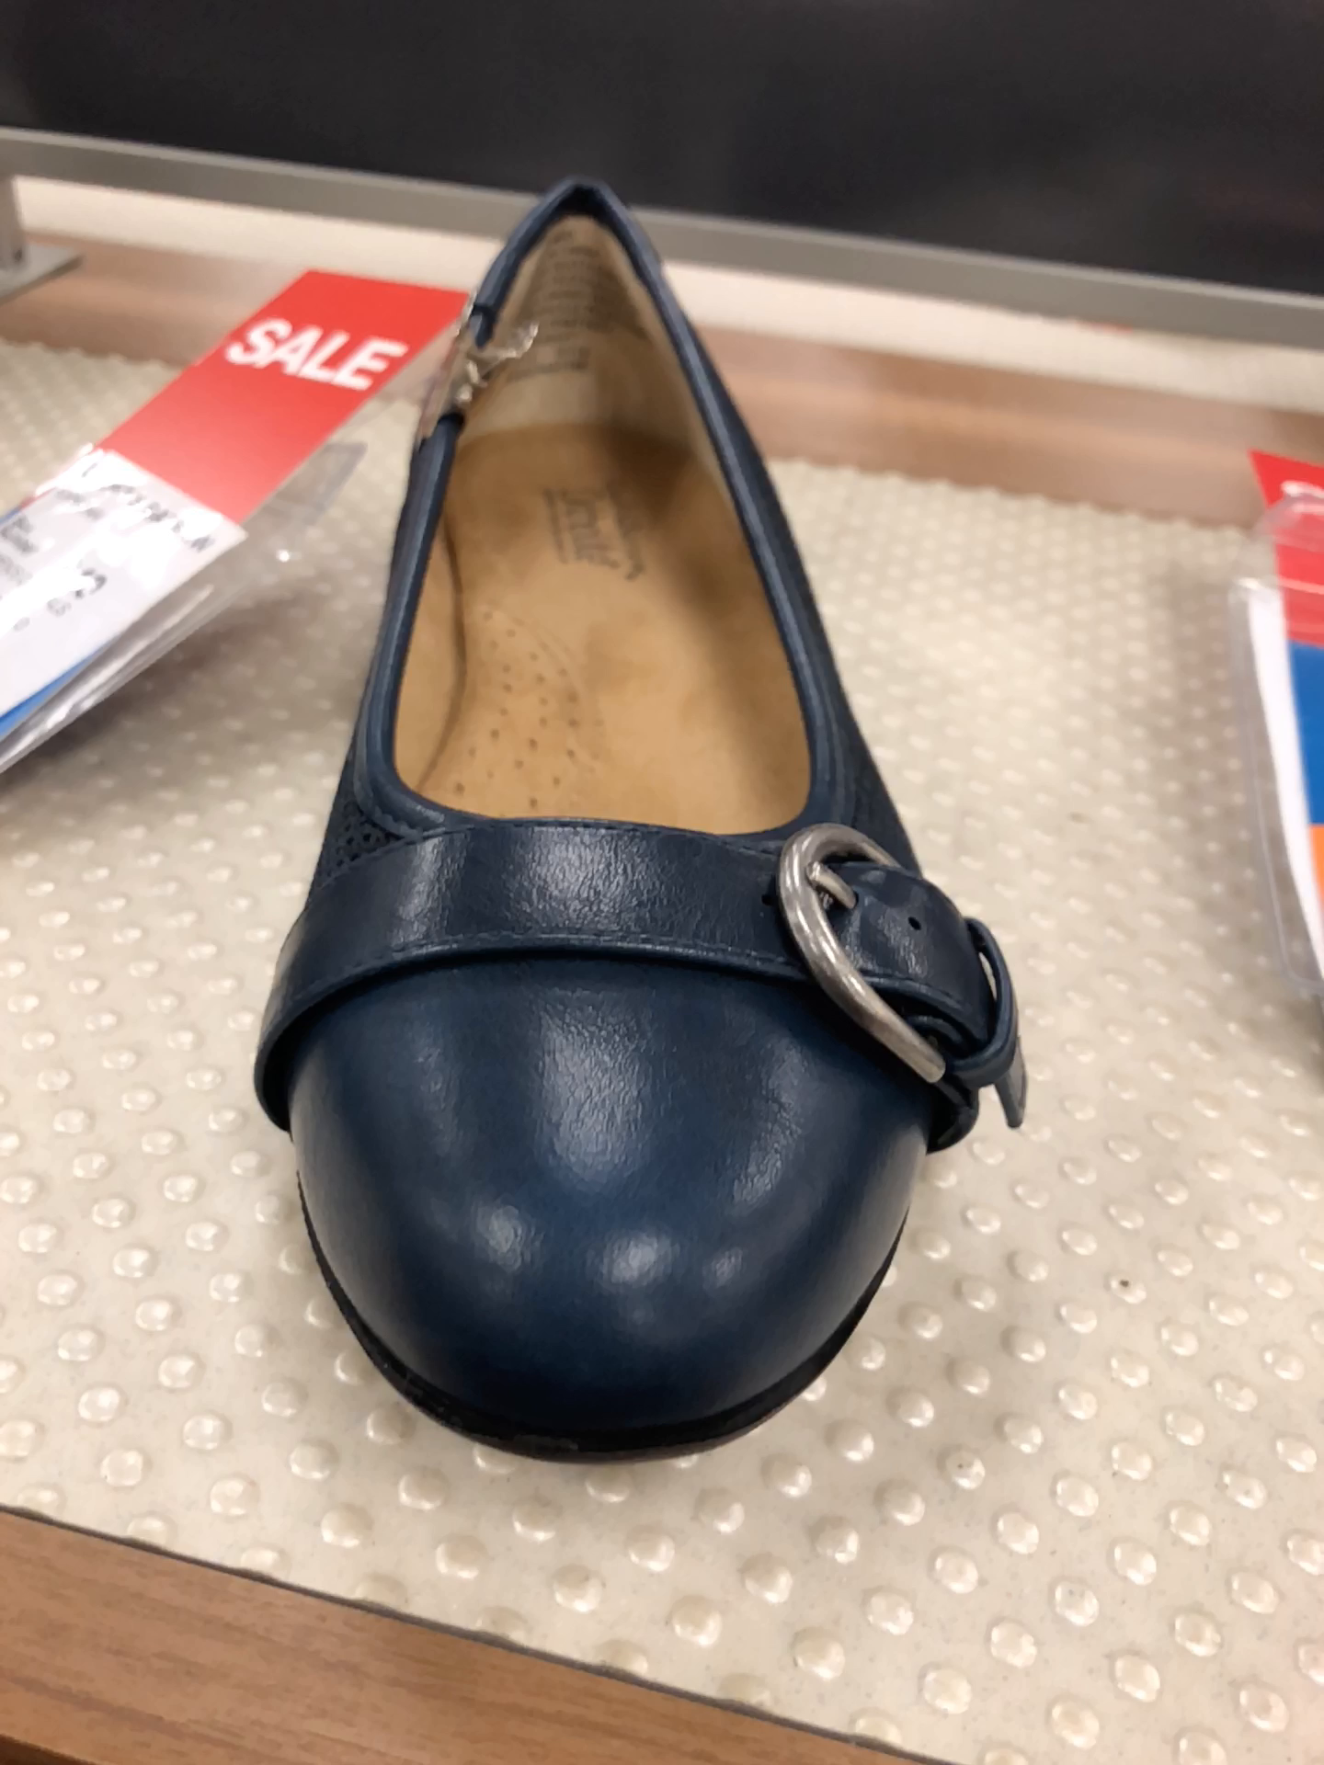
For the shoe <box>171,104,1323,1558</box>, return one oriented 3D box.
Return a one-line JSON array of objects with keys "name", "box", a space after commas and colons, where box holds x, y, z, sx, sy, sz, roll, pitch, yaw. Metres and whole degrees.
[{"name": "shoe", "box": [-0.005, -0.050, 0.240, 0.088, 0.081, 0.280, 0, 37, -7]}]
